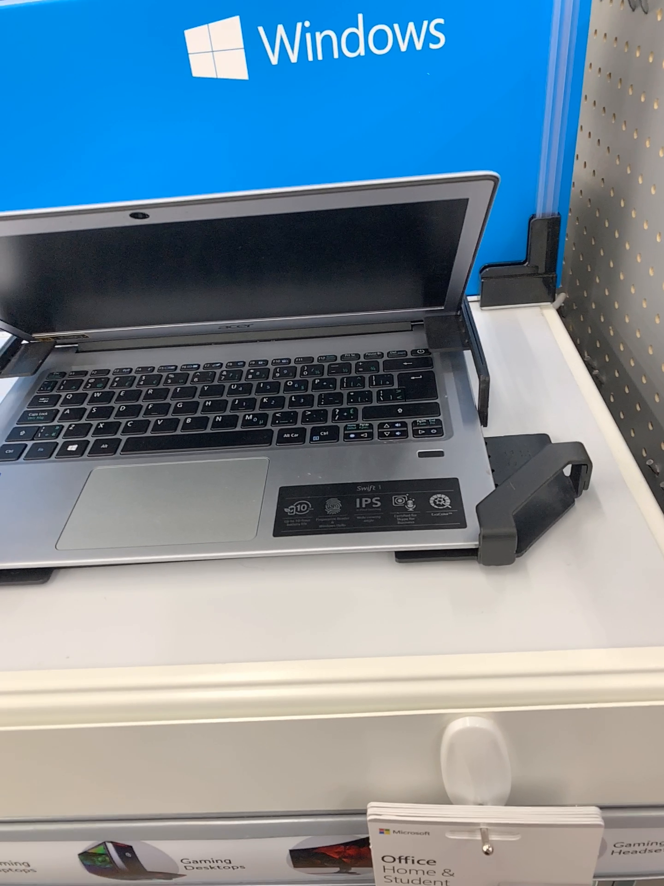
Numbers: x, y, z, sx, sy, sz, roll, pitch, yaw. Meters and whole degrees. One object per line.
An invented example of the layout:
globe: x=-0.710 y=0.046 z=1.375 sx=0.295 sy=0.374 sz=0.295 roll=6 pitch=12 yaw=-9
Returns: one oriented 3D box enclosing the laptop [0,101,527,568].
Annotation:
laptop: x=-0.076 y=-0.064 z=0.365 sx=0.307 sy=0.140 sz=0.198 roll=-3 pitch=39 yaw=5
